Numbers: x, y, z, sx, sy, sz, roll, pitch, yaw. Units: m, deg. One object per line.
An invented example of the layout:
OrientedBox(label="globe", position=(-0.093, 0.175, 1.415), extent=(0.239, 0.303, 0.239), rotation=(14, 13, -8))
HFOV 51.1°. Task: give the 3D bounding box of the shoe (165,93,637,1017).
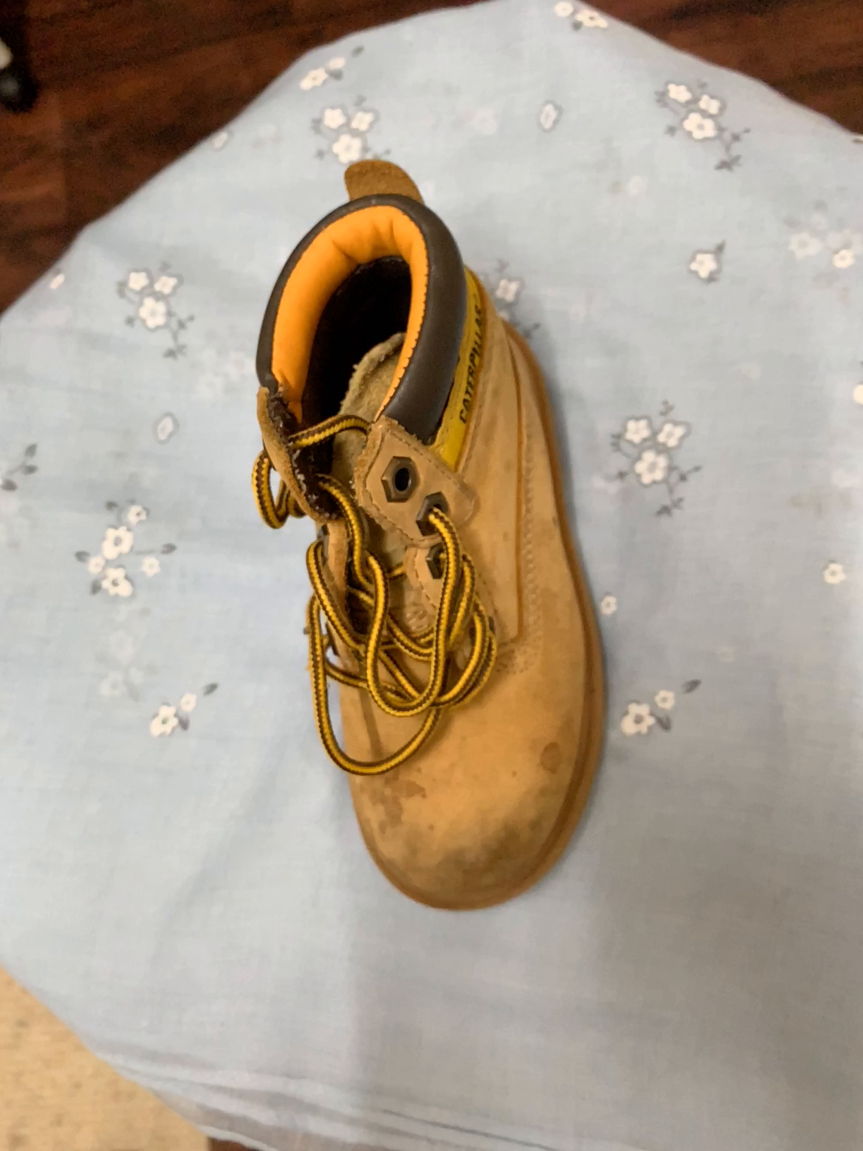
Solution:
OrientedBox(label="shoe", position=(-0.001, -0.001, 0.250), extent=(0.095, 0.120, 0.190), rotation=(-3, 83, 9))
